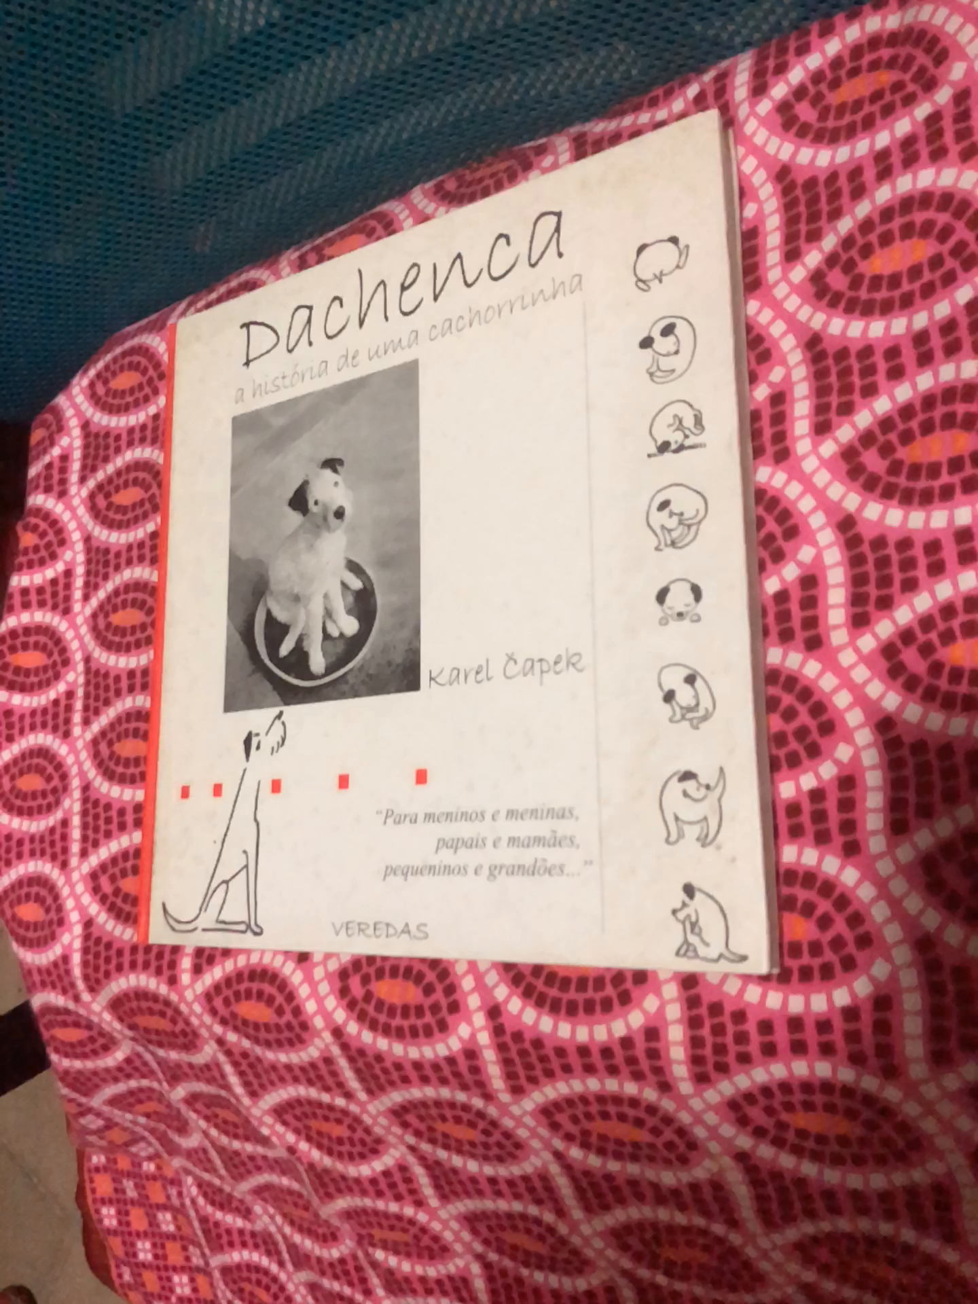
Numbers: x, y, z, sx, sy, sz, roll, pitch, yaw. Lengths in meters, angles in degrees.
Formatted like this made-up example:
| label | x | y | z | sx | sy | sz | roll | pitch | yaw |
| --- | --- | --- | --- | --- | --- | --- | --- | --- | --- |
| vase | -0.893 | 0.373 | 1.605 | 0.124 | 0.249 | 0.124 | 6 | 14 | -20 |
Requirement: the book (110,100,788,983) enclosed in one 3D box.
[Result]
| label | x | y | z | sx | sy | sz | roll | pitch | yaw |
| --- | --- | --- | --- | --- | --- | --- | --- | --- | --- |
| book | -0.024 | -0.021 | 0.317 | 0.206 | 0.027 | 0.216 | -8 | 76 | 32 |
